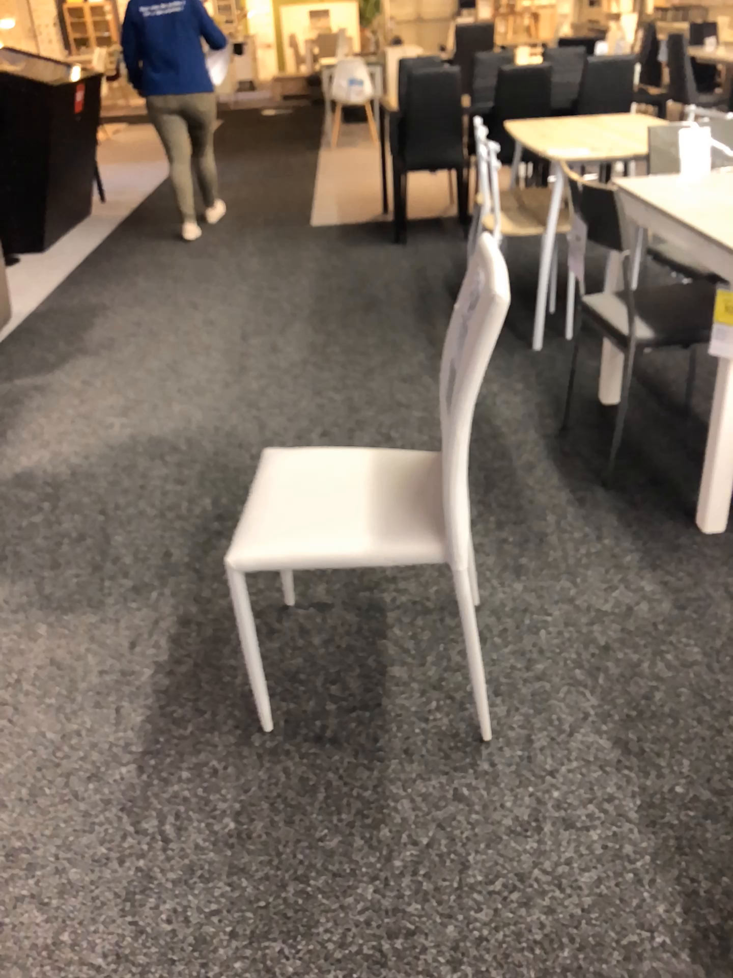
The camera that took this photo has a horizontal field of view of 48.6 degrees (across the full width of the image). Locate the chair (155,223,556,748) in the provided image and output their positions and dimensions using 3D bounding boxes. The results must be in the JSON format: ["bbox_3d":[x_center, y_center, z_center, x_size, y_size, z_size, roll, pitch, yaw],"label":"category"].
[{"bbox_3d":[0.015,-0.006,1.510,0.540,0.815,0.503,-2,30,4],"label":"chair"}]
